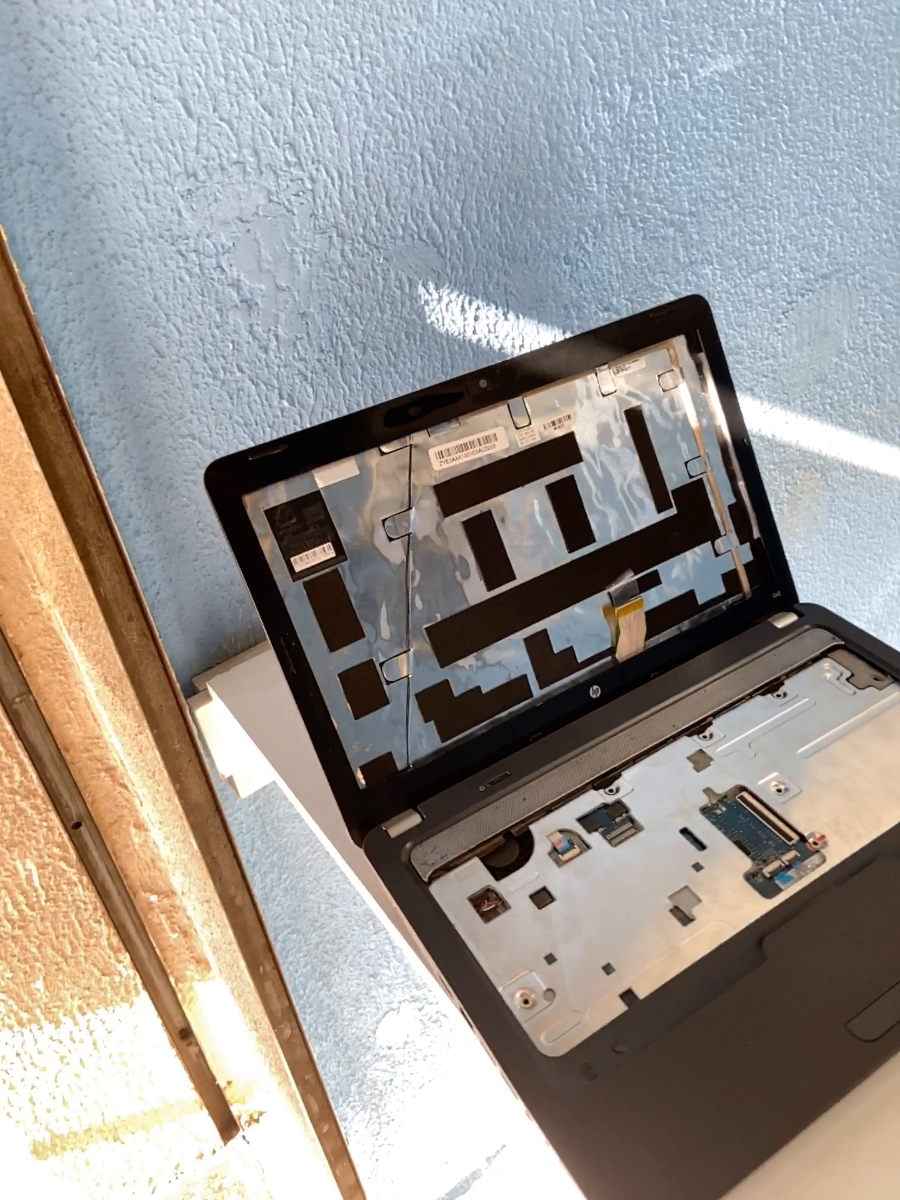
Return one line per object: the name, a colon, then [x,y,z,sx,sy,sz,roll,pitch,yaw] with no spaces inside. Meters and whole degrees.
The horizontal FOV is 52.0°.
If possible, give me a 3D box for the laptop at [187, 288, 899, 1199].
laptop: [0.109,0.017,0.468,0.338,0.179,0.350,-24,40,-21]
